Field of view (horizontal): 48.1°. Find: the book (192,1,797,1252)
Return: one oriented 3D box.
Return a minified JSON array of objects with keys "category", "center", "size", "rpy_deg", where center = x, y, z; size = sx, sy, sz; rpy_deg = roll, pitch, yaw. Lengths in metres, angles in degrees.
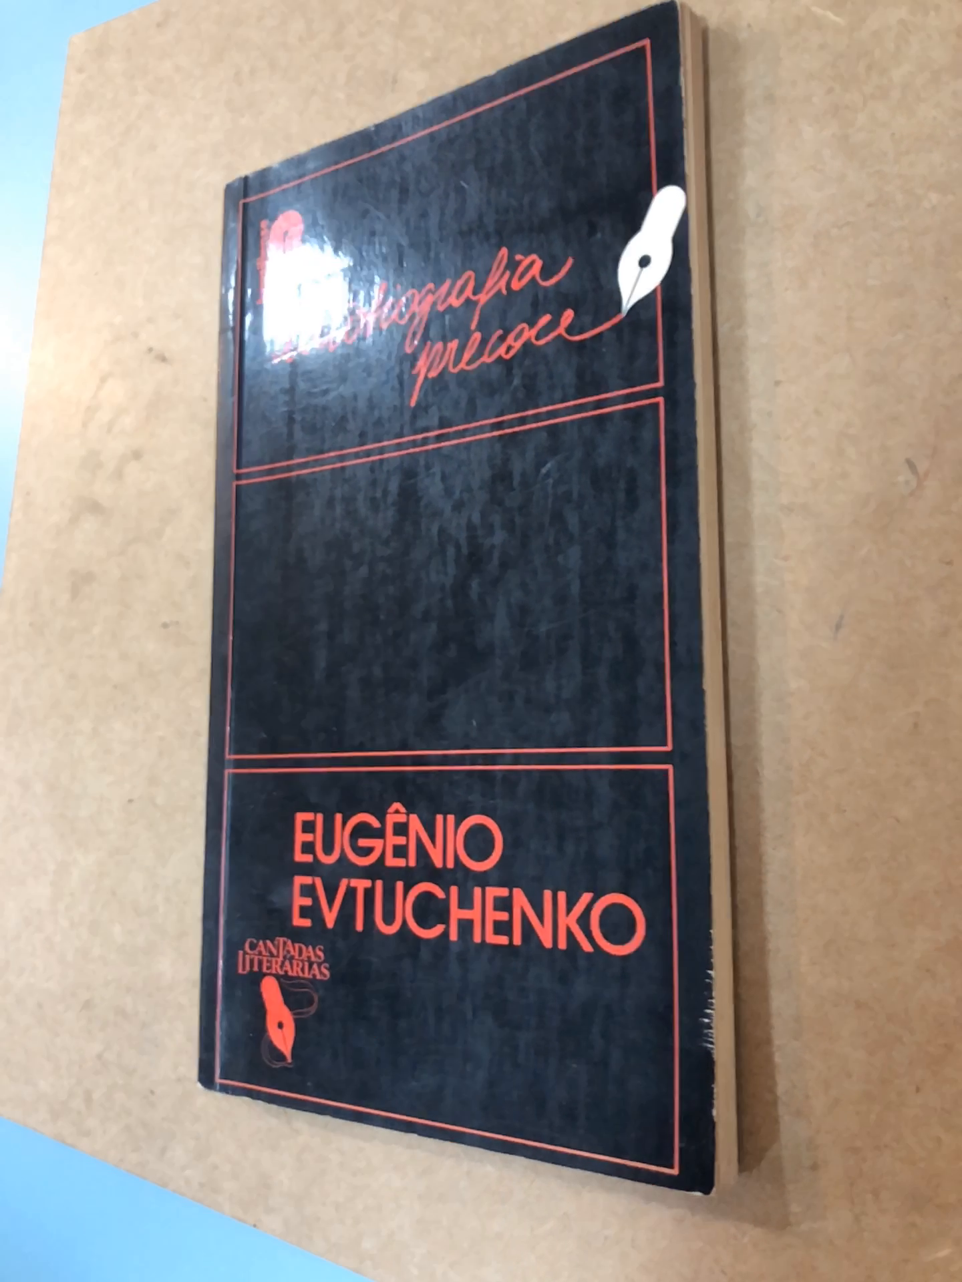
[{"category":"book","center":[-0.004,-0.005,0.199],"size":[0.114,0.016,0.190],"rpy_deg":[-5,81,33]}]
